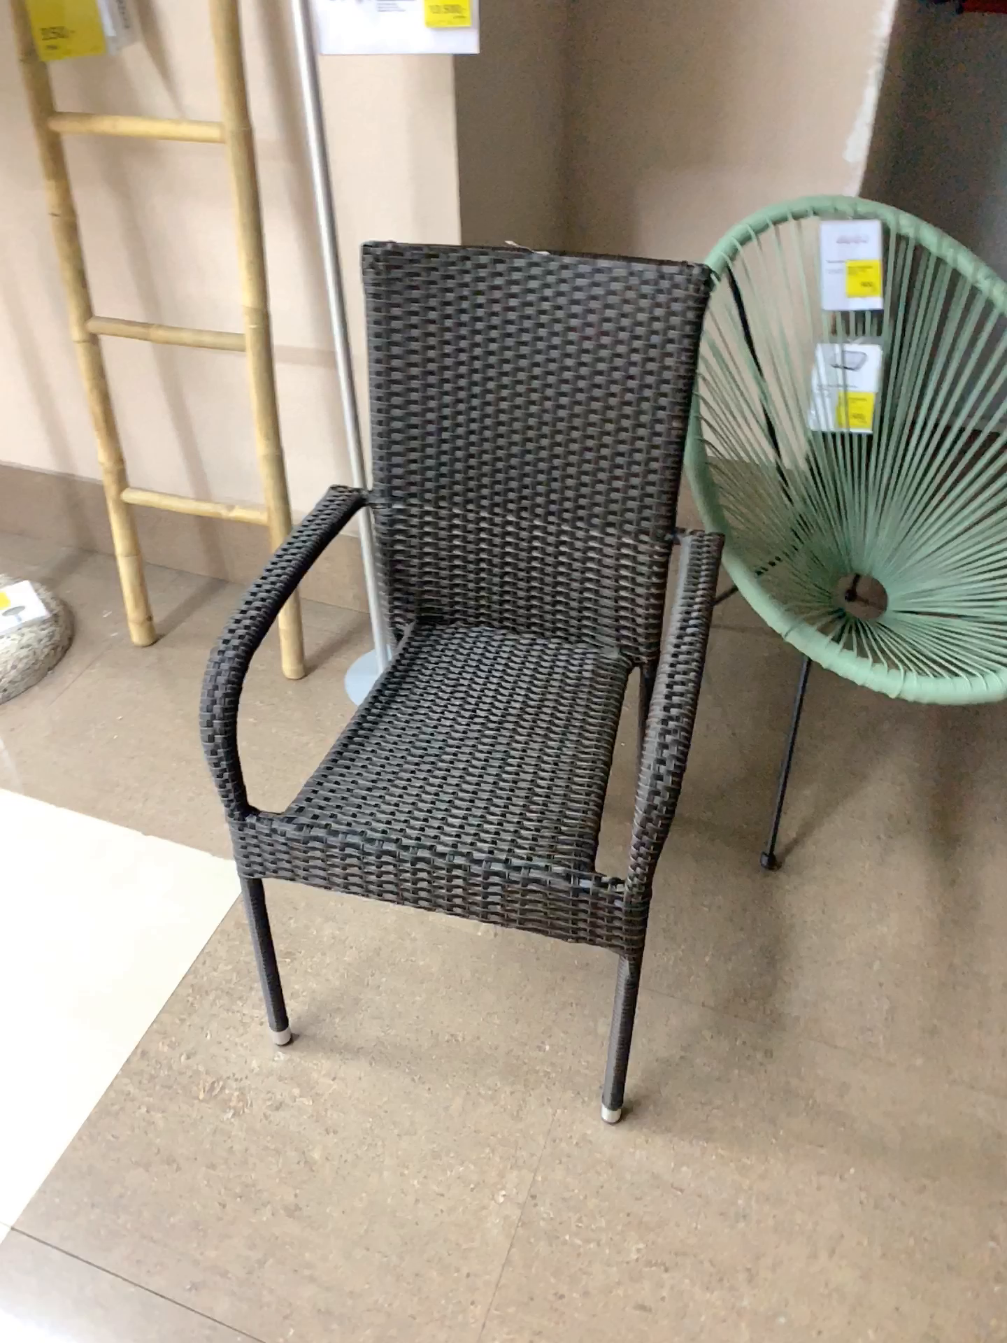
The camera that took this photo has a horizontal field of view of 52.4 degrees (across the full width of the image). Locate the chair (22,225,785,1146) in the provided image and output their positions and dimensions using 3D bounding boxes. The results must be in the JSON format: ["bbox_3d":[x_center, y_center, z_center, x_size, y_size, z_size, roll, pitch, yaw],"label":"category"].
[{"bbox_3d":[-0.026,0.016,1.391,0.620,0.955,0.683,9,41,12],"label":"chair"}]
